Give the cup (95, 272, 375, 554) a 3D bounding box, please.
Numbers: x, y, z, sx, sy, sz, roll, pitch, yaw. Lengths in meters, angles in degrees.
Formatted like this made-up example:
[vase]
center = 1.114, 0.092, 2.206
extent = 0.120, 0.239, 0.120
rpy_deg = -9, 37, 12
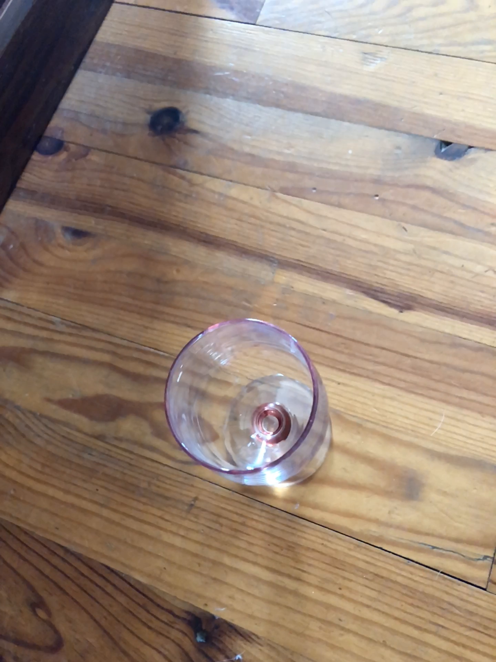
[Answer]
[cup]
center = 0.005, 0.048, 0.291
extent = 0.087, 0.133, 0.083
rpy_deg = -3, 73, 10
